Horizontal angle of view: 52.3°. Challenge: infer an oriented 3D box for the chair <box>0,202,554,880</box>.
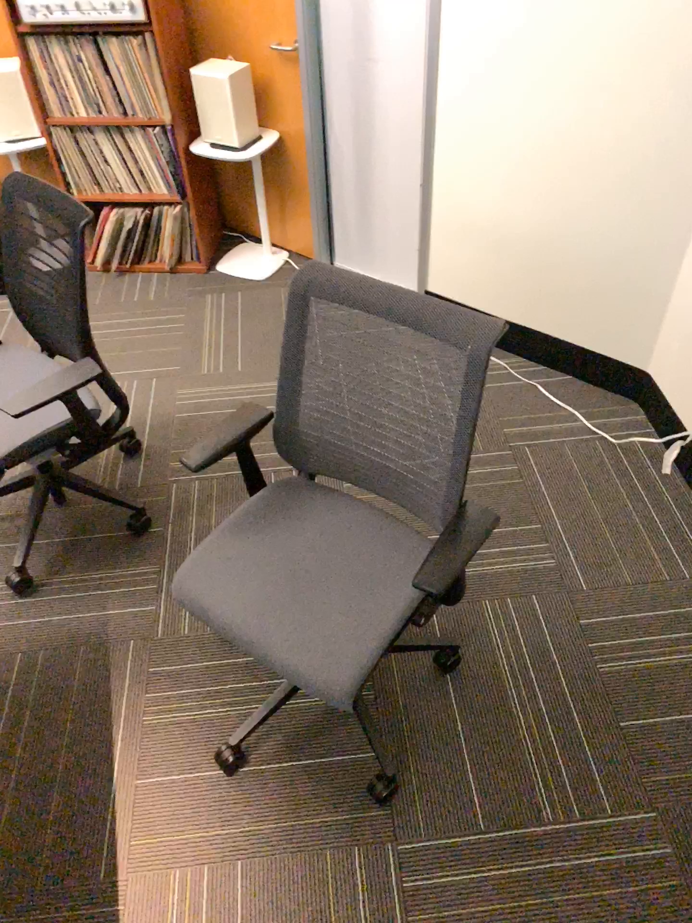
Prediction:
[{"bbox_3d":[-0.139,0.186,1.618,0.792,1.114,0.802,22,51,23],"label":"chair"}]
